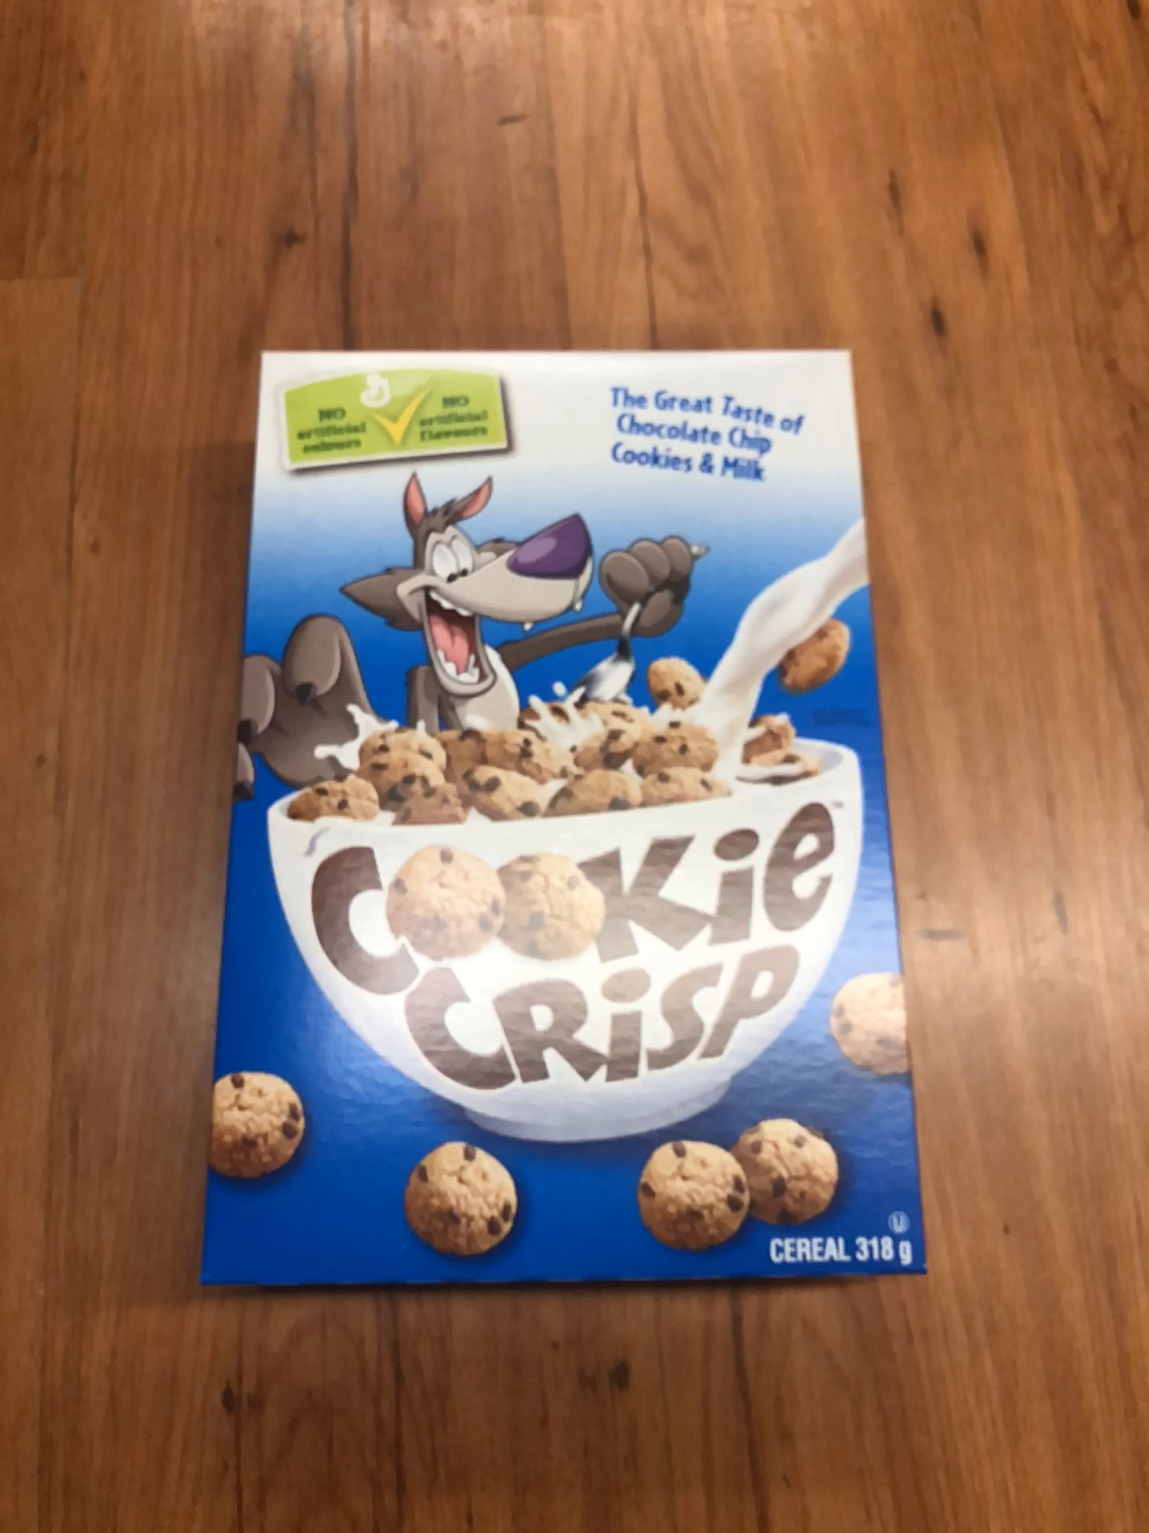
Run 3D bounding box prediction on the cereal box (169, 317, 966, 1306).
[{"bbox_3d":[-0.004,0.006,0.386,0.200,0.060,0.280,0,75,-2],"label":"cereal box"}]
